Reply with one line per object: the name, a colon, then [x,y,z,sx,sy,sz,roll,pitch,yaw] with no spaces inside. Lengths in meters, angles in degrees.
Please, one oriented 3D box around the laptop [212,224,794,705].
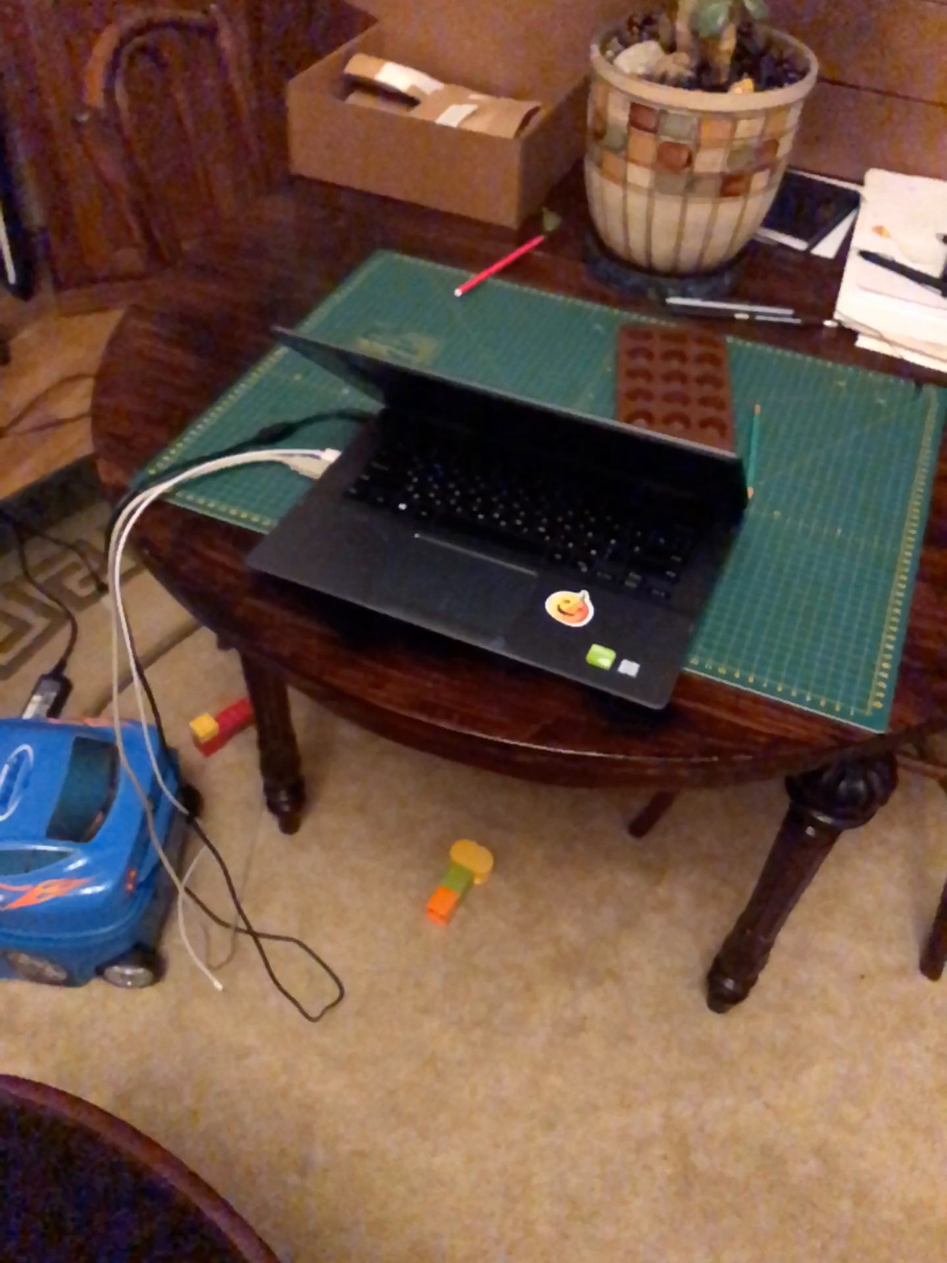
laptop: [0.025,-0.131,0.745,0.317,0.162,0.225,19,49,15]
